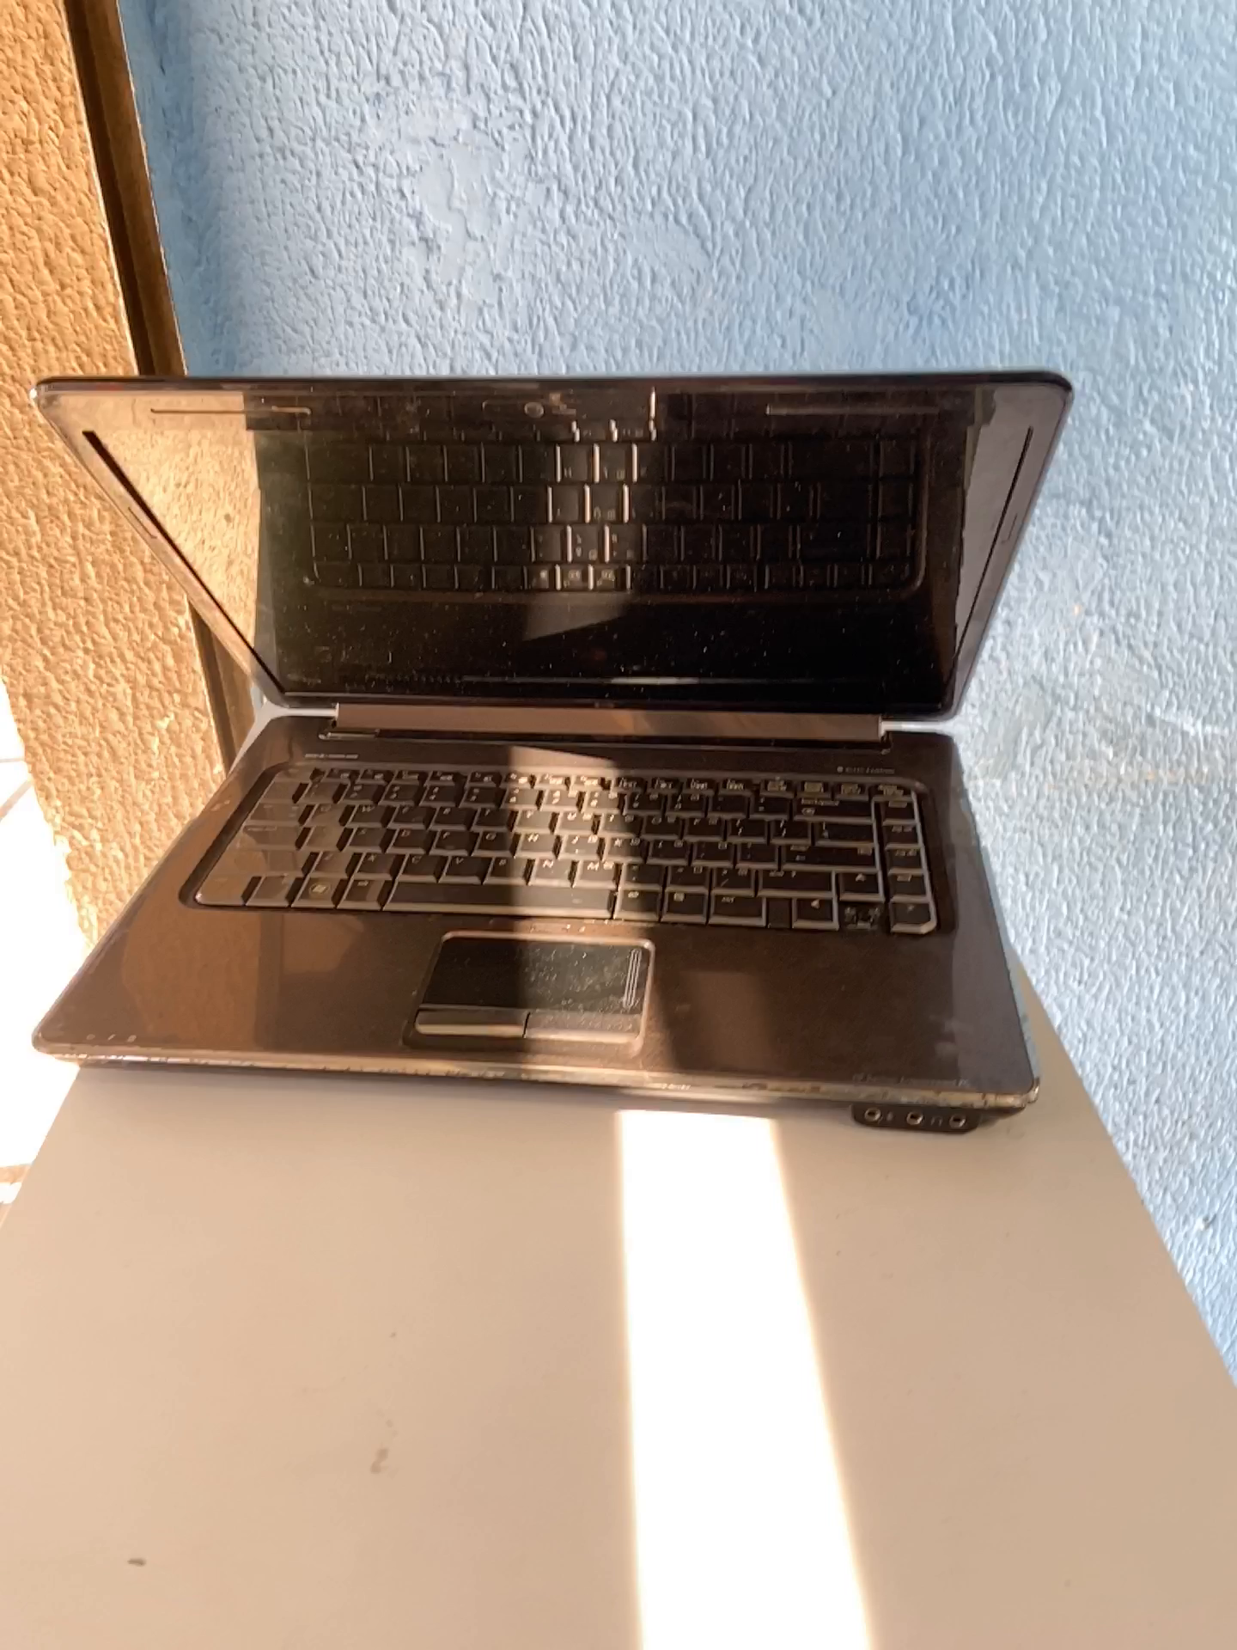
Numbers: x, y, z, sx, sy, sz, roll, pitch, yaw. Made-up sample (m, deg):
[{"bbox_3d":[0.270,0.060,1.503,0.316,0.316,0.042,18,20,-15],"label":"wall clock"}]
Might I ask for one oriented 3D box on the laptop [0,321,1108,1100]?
[{"bbox_3d":[-0.030,-0.064,0.489,0.344,0.190,0.246,1,31,7],"label":"laptop"}]
